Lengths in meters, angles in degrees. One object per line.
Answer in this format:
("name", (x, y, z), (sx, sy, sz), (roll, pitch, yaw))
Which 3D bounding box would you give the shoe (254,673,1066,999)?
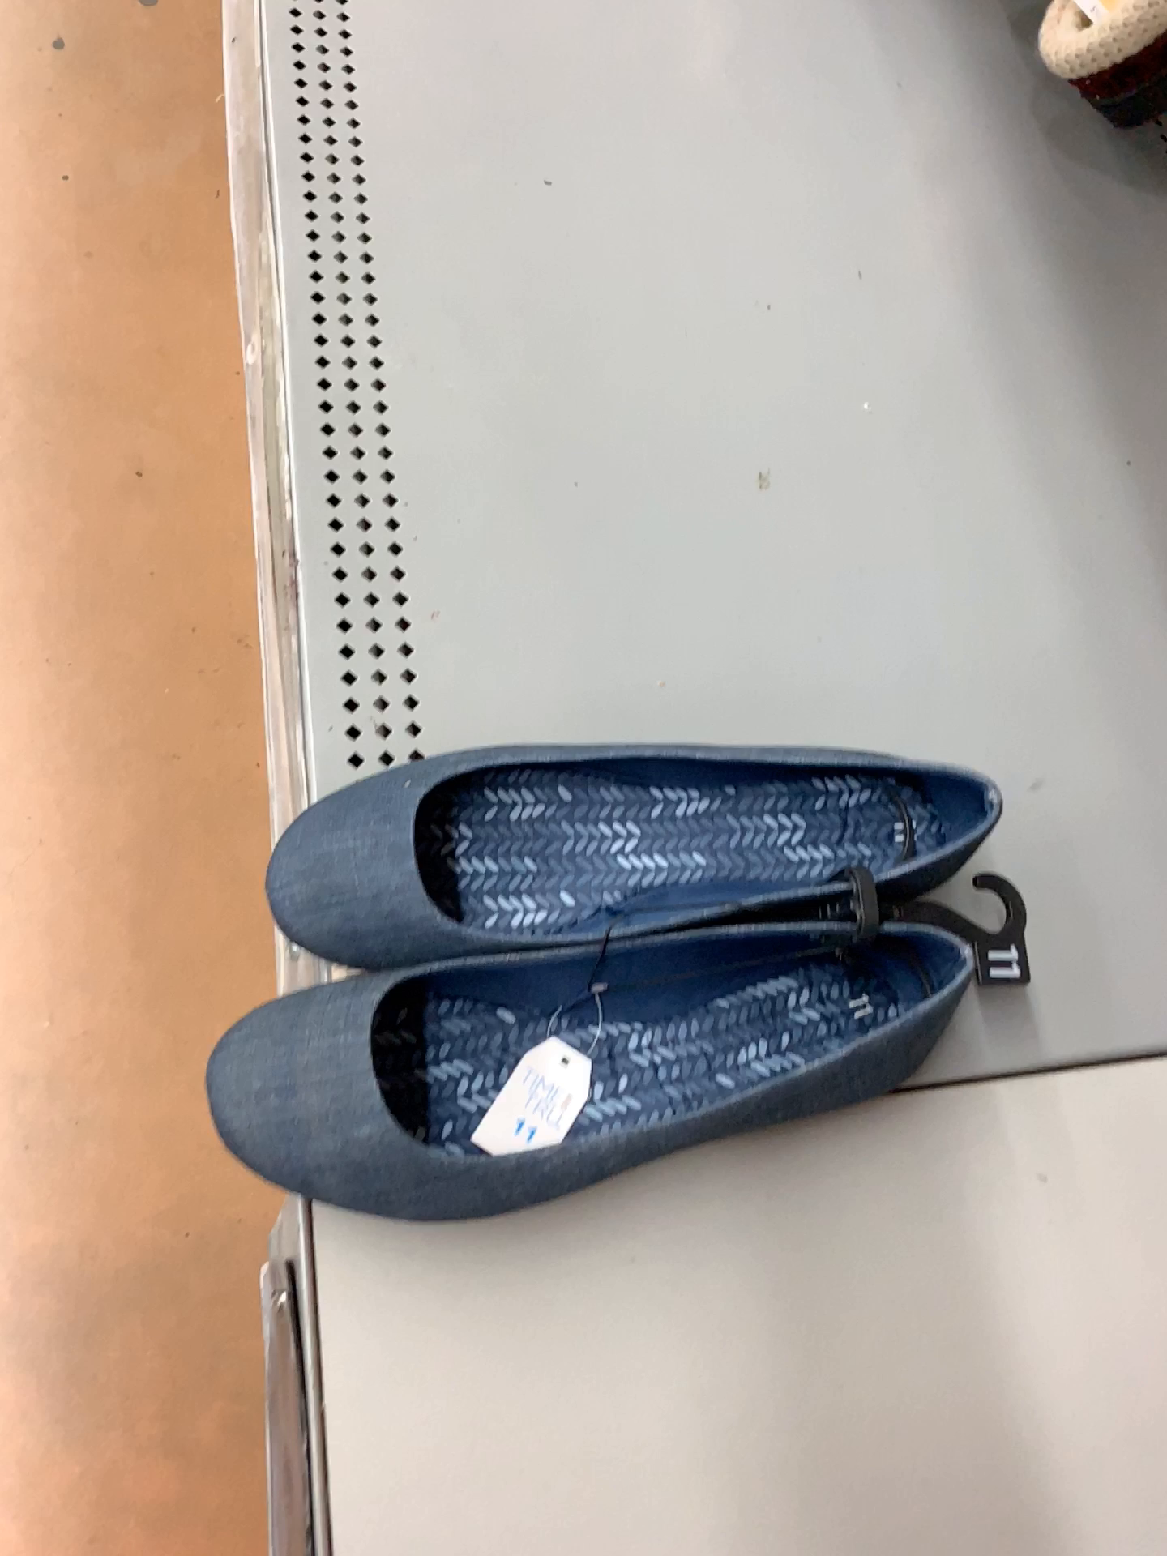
("shoe", (0.023, 0.024, 0.457), (0.280, 0.090, 0.090), (0, 65, -11))

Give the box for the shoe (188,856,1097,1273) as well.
("shoe", (0.015, 0.097, 0.414), (0.280, 0.090, 0.090), (-4, 63, -13))
